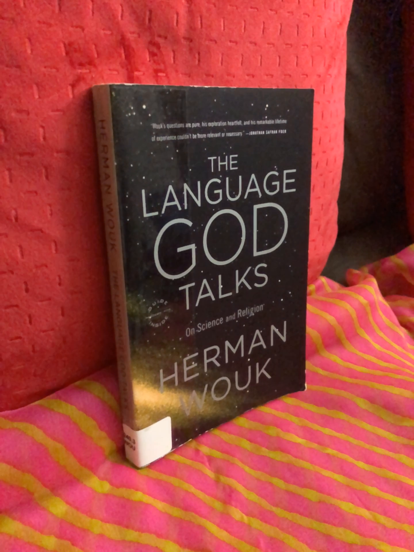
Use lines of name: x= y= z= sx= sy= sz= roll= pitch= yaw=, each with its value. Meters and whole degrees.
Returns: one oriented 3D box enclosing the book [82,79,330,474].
book: x=0.010 y=-0.005 z=0.270 sx=0.138 sy=0.199 sz=0.030 roll=-16 pitch=24 yaw=-35
